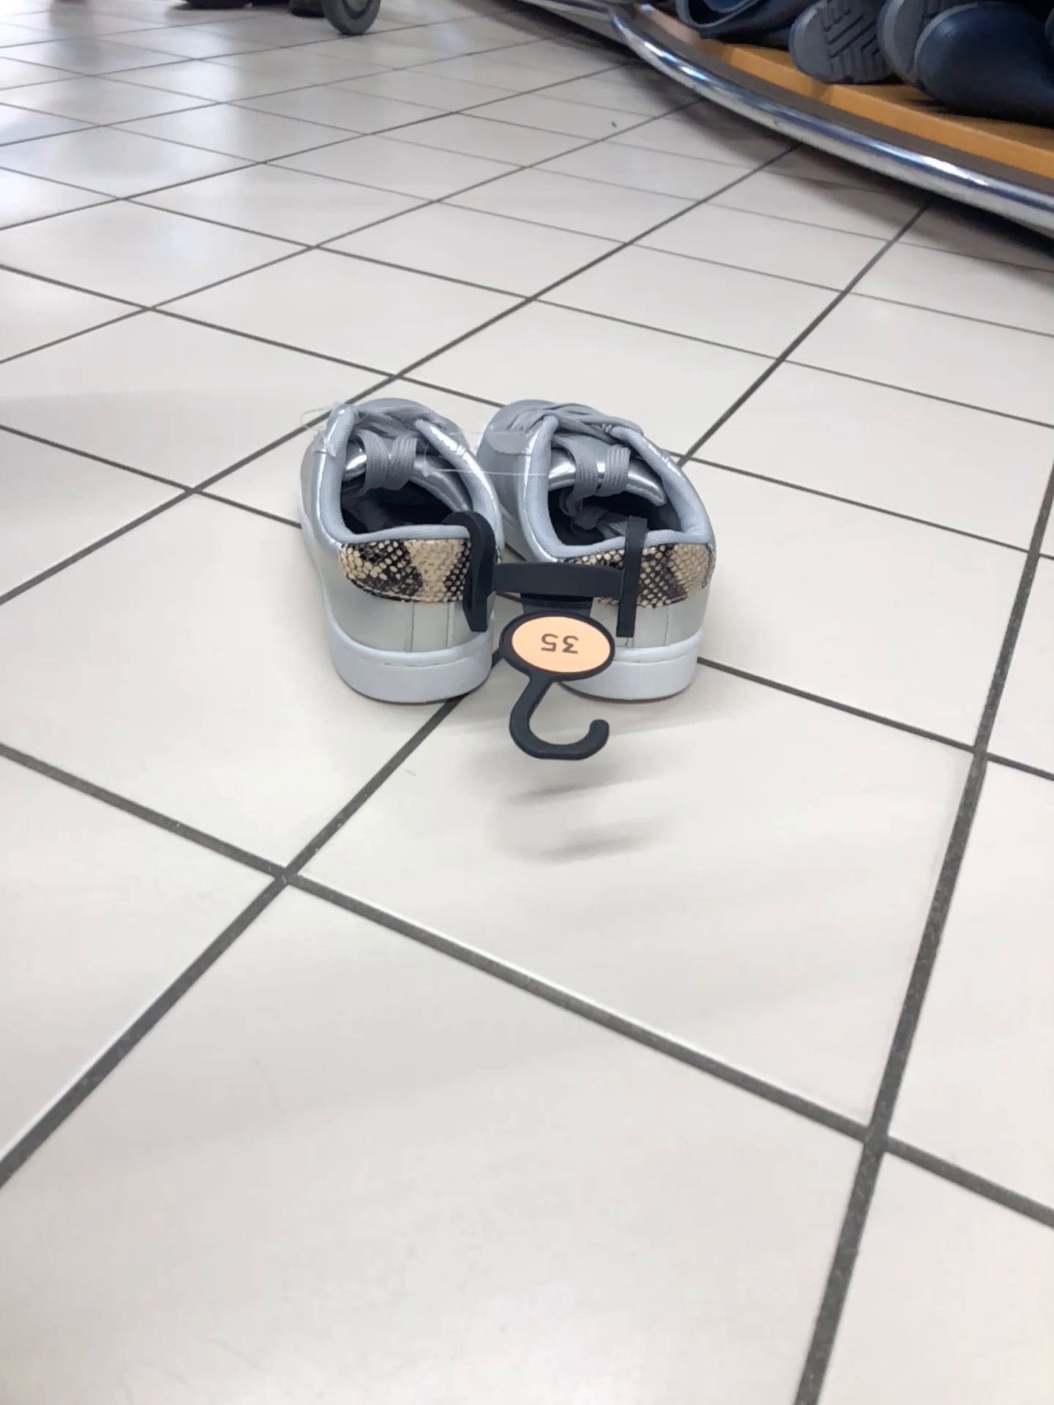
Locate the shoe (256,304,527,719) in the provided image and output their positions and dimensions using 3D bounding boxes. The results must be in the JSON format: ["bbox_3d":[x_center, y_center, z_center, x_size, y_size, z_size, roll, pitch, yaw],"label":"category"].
[{"bbox_3d":[-0.073,-0.101,0.536,0.090,0.089,0.231,-4,37,-13],"label":"shoe"}]

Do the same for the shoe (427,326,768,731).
[{"bbox_3d":[0.019,-0.096,0.556,0.090,0.089,0.231,-5,38,-14],"label":"shoe"}]
